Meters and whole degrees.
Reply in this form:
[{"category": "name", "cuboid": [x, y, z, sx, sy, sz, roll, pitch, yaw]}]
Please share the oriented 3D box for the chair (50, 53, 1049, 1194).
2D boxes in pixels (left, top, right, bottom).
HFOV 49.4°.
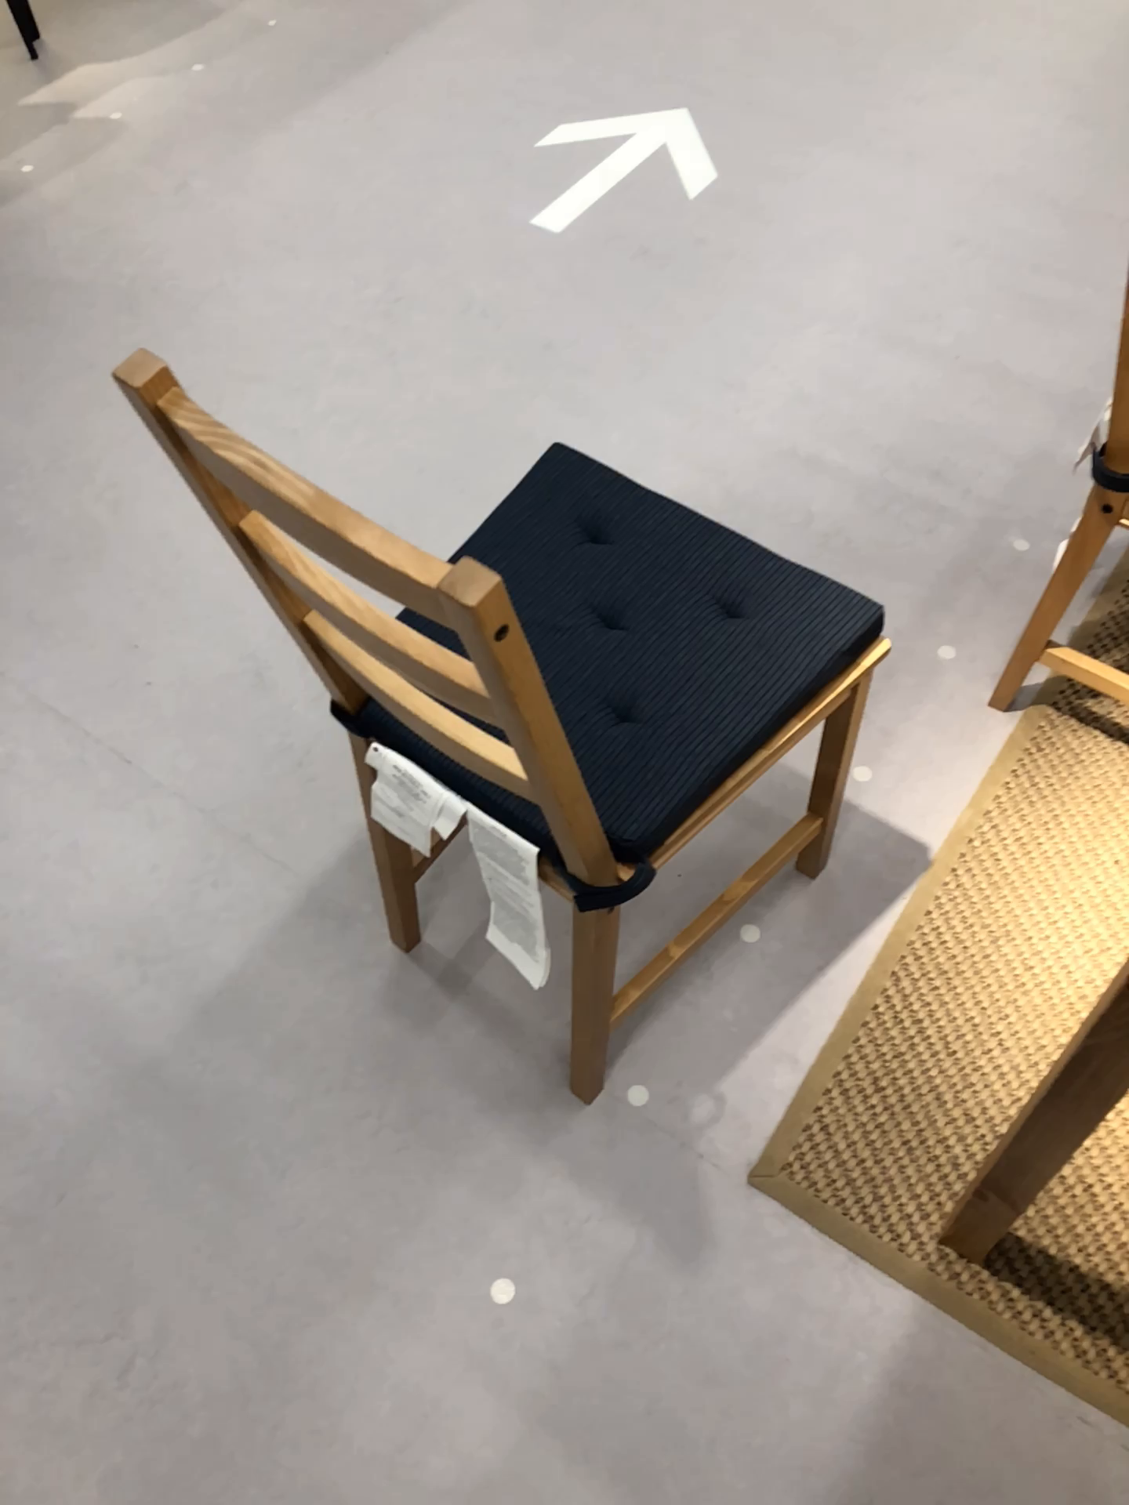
[{"category": "chair", "cuboid": [0.021, -0.053, 1.173, 0.441, 0.865, 0.521, 32, 62, 23]}]
